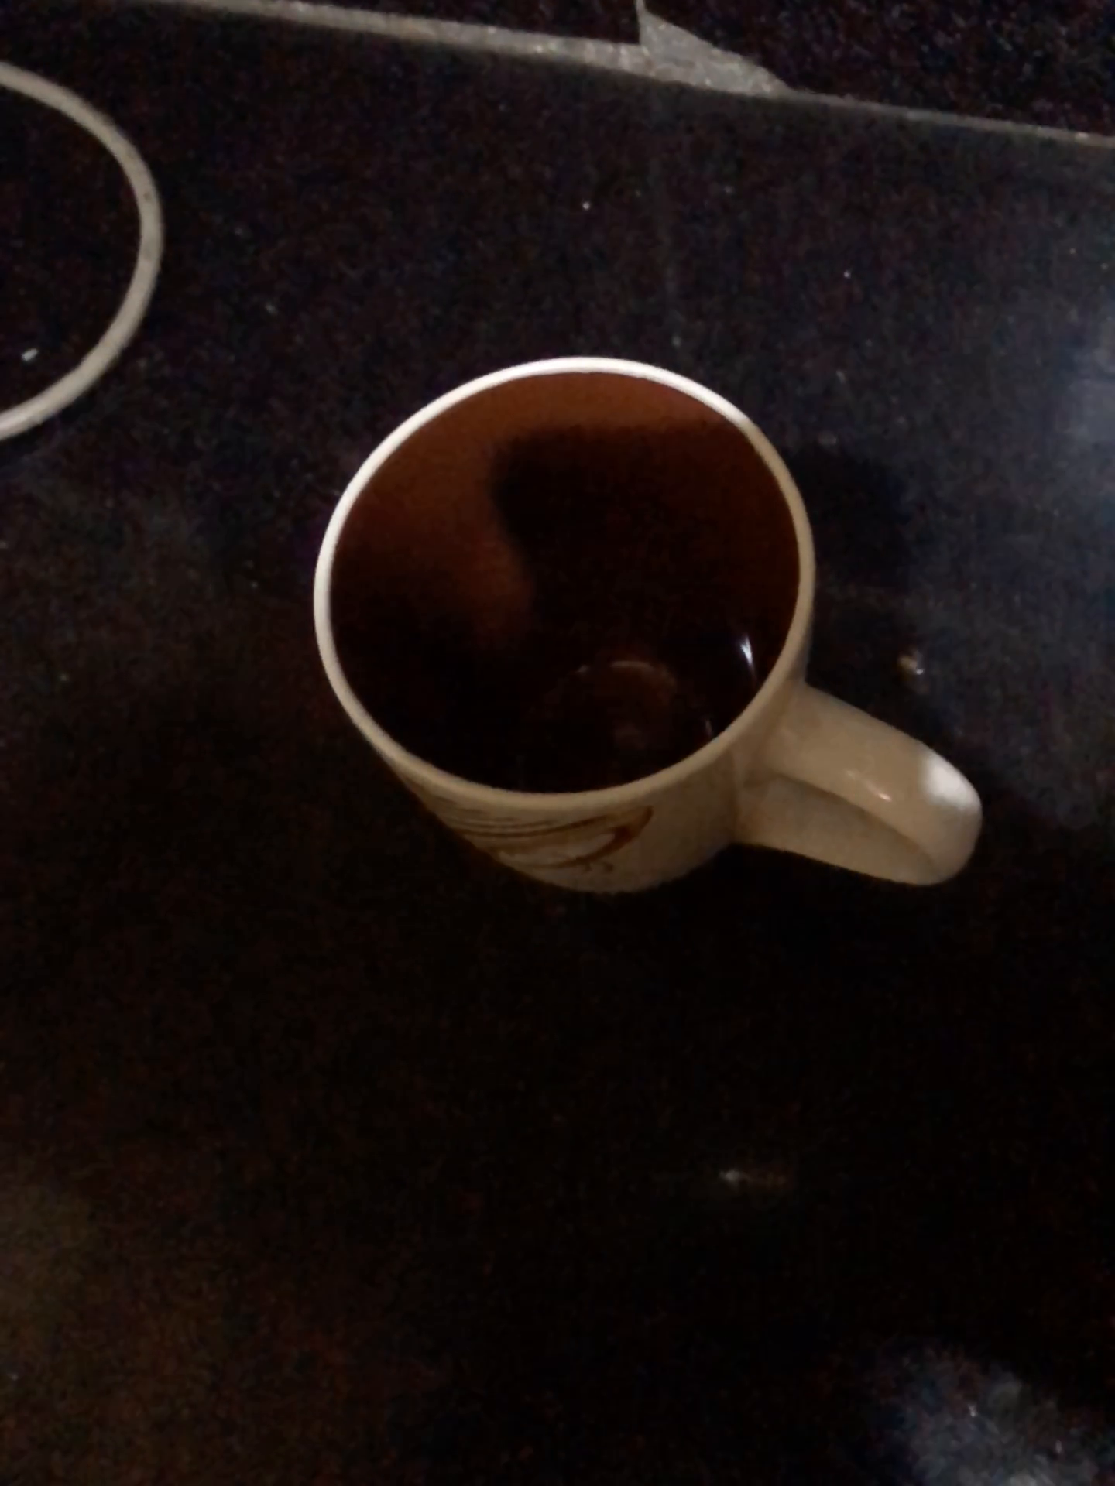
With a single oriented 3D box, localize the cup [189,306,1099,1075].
[{"bbox_3d":[0.020,-0.006,0.237,0.120,0.090,0.090,17,73,15],"label":"cup"}]
